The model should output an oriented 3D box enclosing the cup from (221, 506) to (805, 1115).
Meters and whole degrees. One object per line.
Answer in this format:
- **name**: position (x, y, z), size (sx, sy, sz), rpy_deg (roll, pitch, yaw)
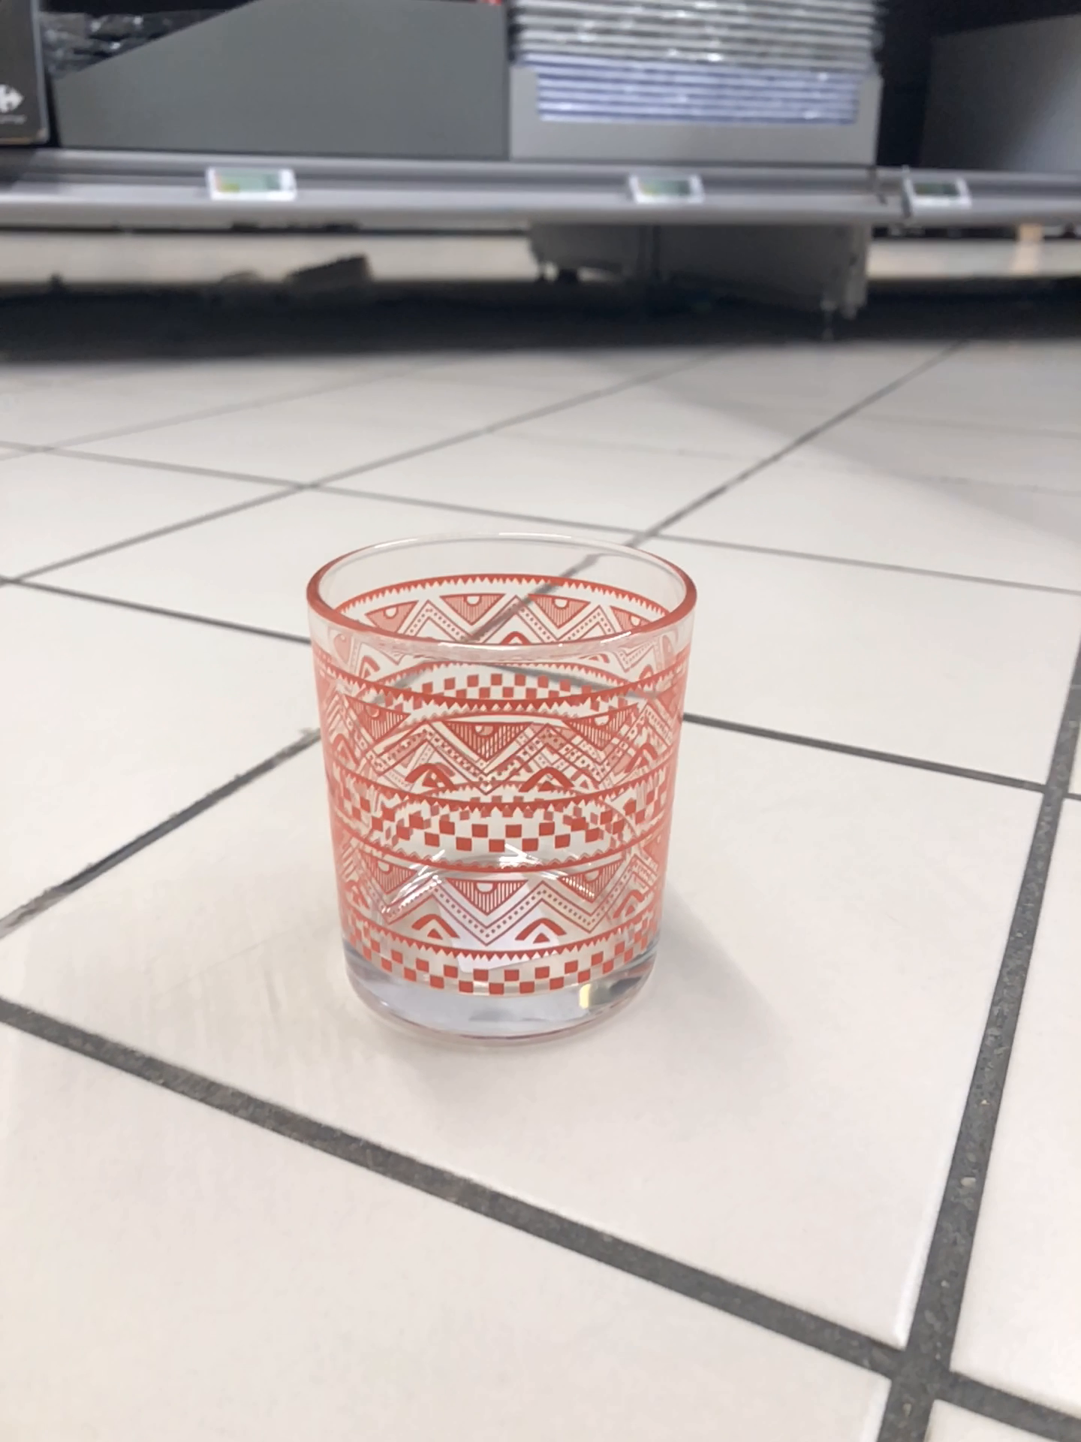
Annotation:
- **cup**: position (-0.002, 0.009, 0.241), size (0.078, 0.078, 0.084), rpy_deg (1, 23, 0)
